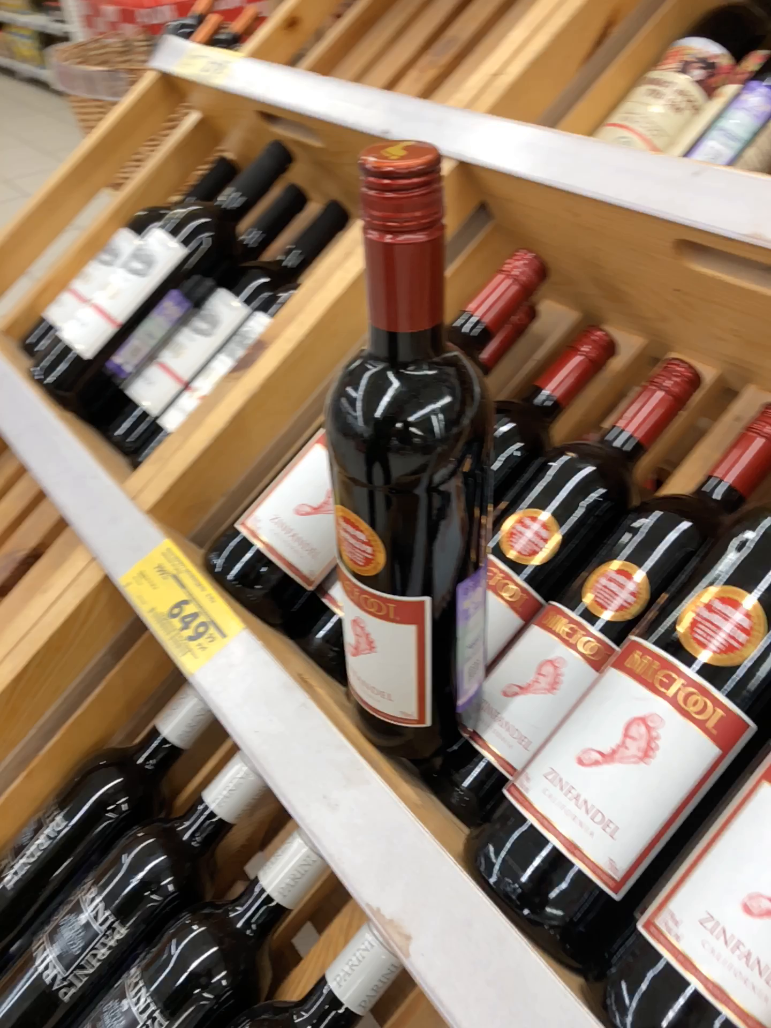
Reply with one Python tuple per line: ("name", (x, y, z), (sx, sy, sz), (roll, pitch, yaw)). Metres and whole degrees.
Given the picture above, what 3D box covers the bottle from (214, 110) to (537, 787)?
("bottle", (0.008, -0.012, 0.382), (0.080, 0.288, 0.080), (-4, 38, 3))
